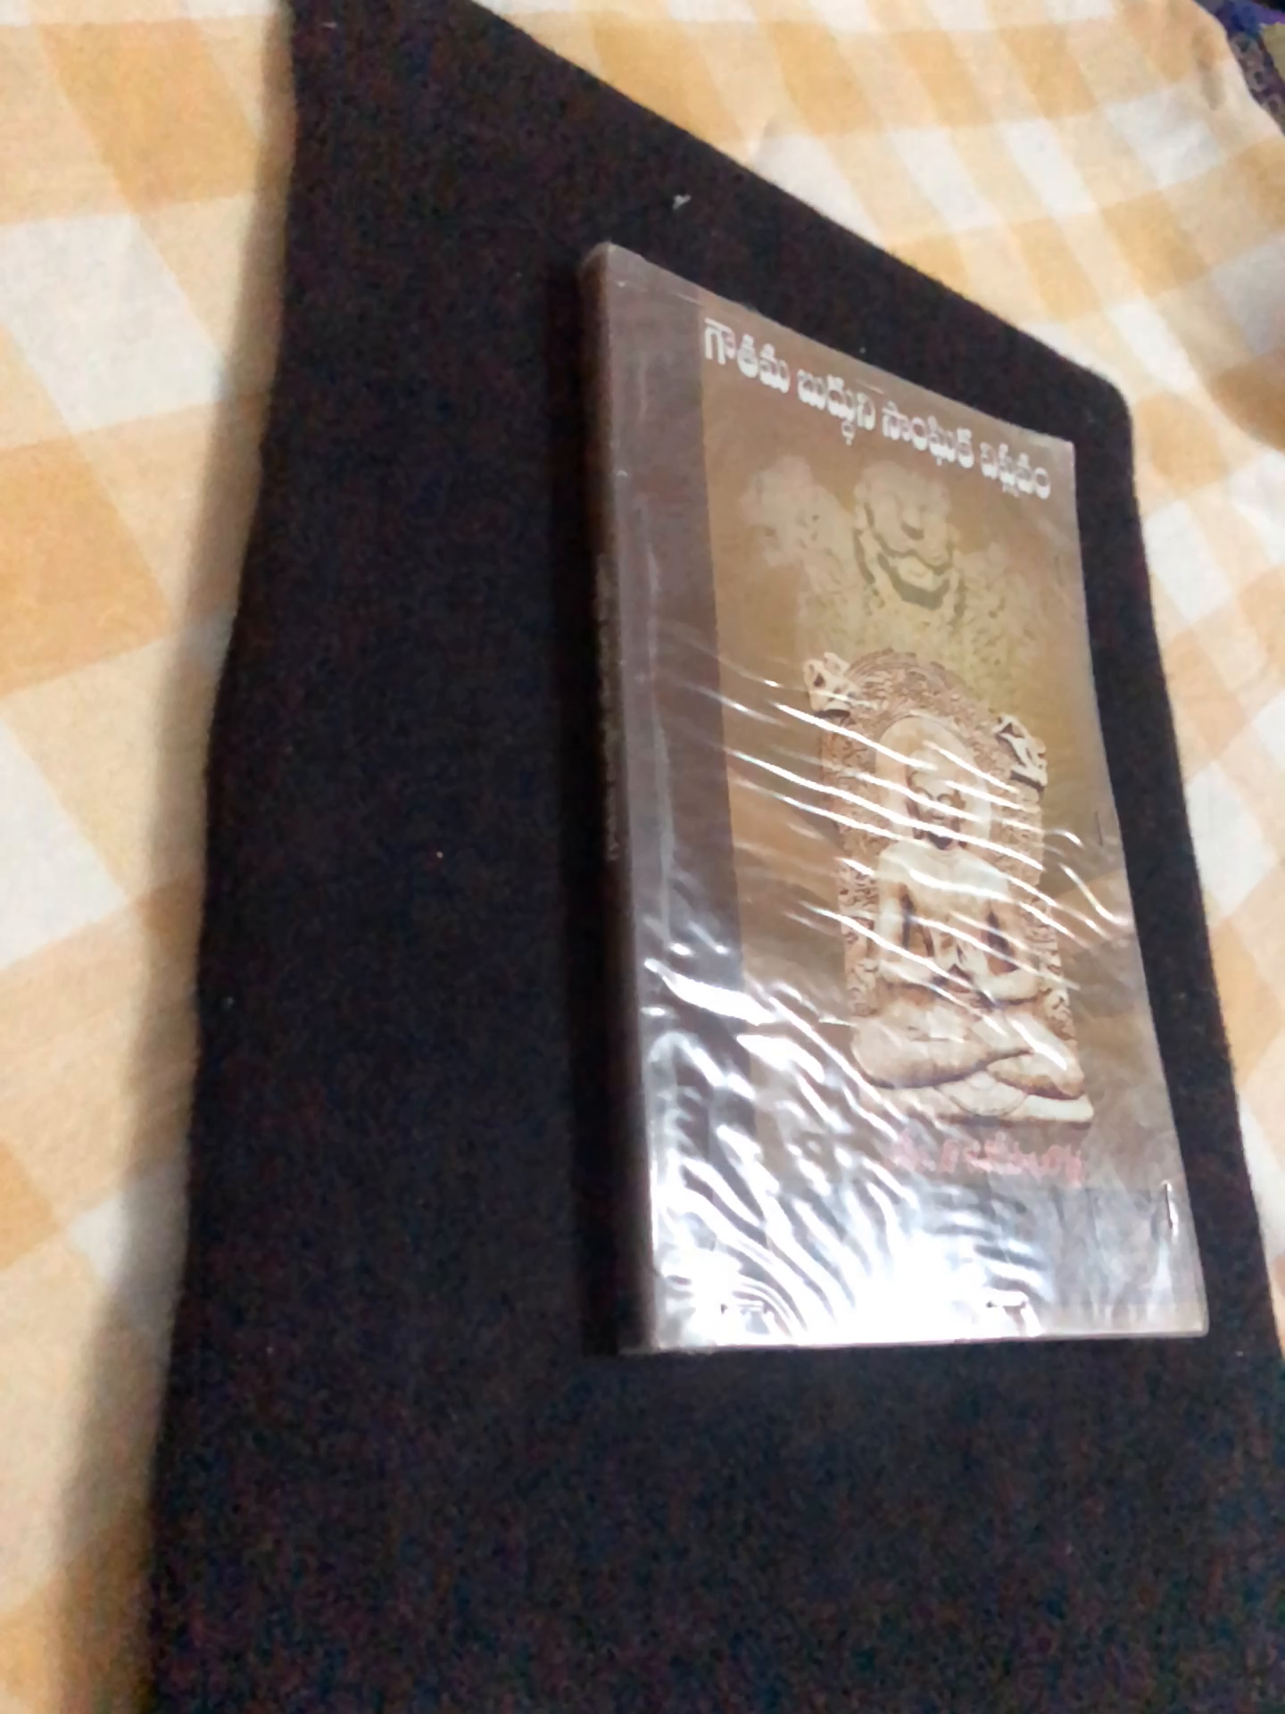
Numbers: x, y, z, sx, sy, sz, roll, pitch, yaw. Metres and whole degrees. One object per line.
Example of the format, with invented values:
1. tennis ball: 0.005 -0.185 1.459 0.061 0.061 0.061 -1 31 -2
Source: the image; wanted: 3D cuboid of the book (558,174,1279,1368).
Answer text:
1. book: 0.055 -0.017 0.297 0.151 0.020 0.230 13 61 -34
